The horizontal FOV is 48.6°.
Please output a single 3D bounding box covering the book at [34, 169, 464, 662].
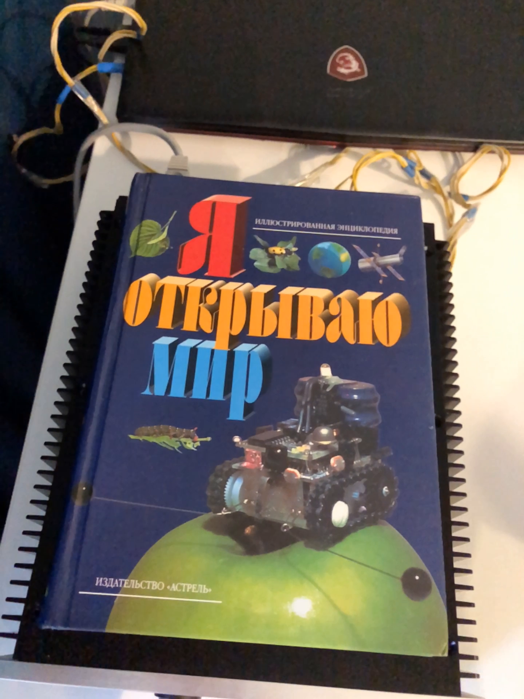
[{"bbox_3d":[0.004,0.018,0.319,0.186,0.030,0.256,5,65,-1],"label":"book"}]
